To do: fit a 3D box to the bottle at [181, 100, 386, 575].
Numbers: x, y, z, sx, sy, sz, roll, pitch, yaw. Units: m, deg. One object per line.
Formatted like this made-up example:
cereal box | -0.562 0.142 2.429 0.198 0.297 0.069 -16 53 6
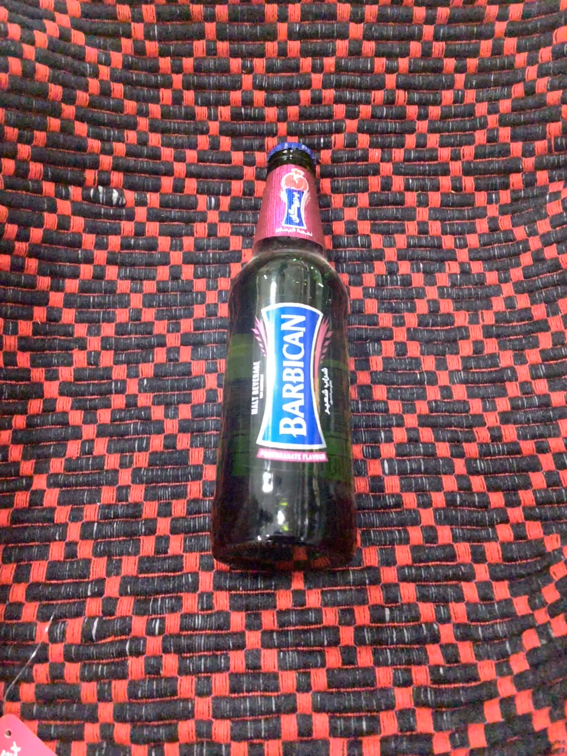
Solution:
bottle | 0.004 -0.034 0.298 0.070 0.080 0.241 2 57 1
